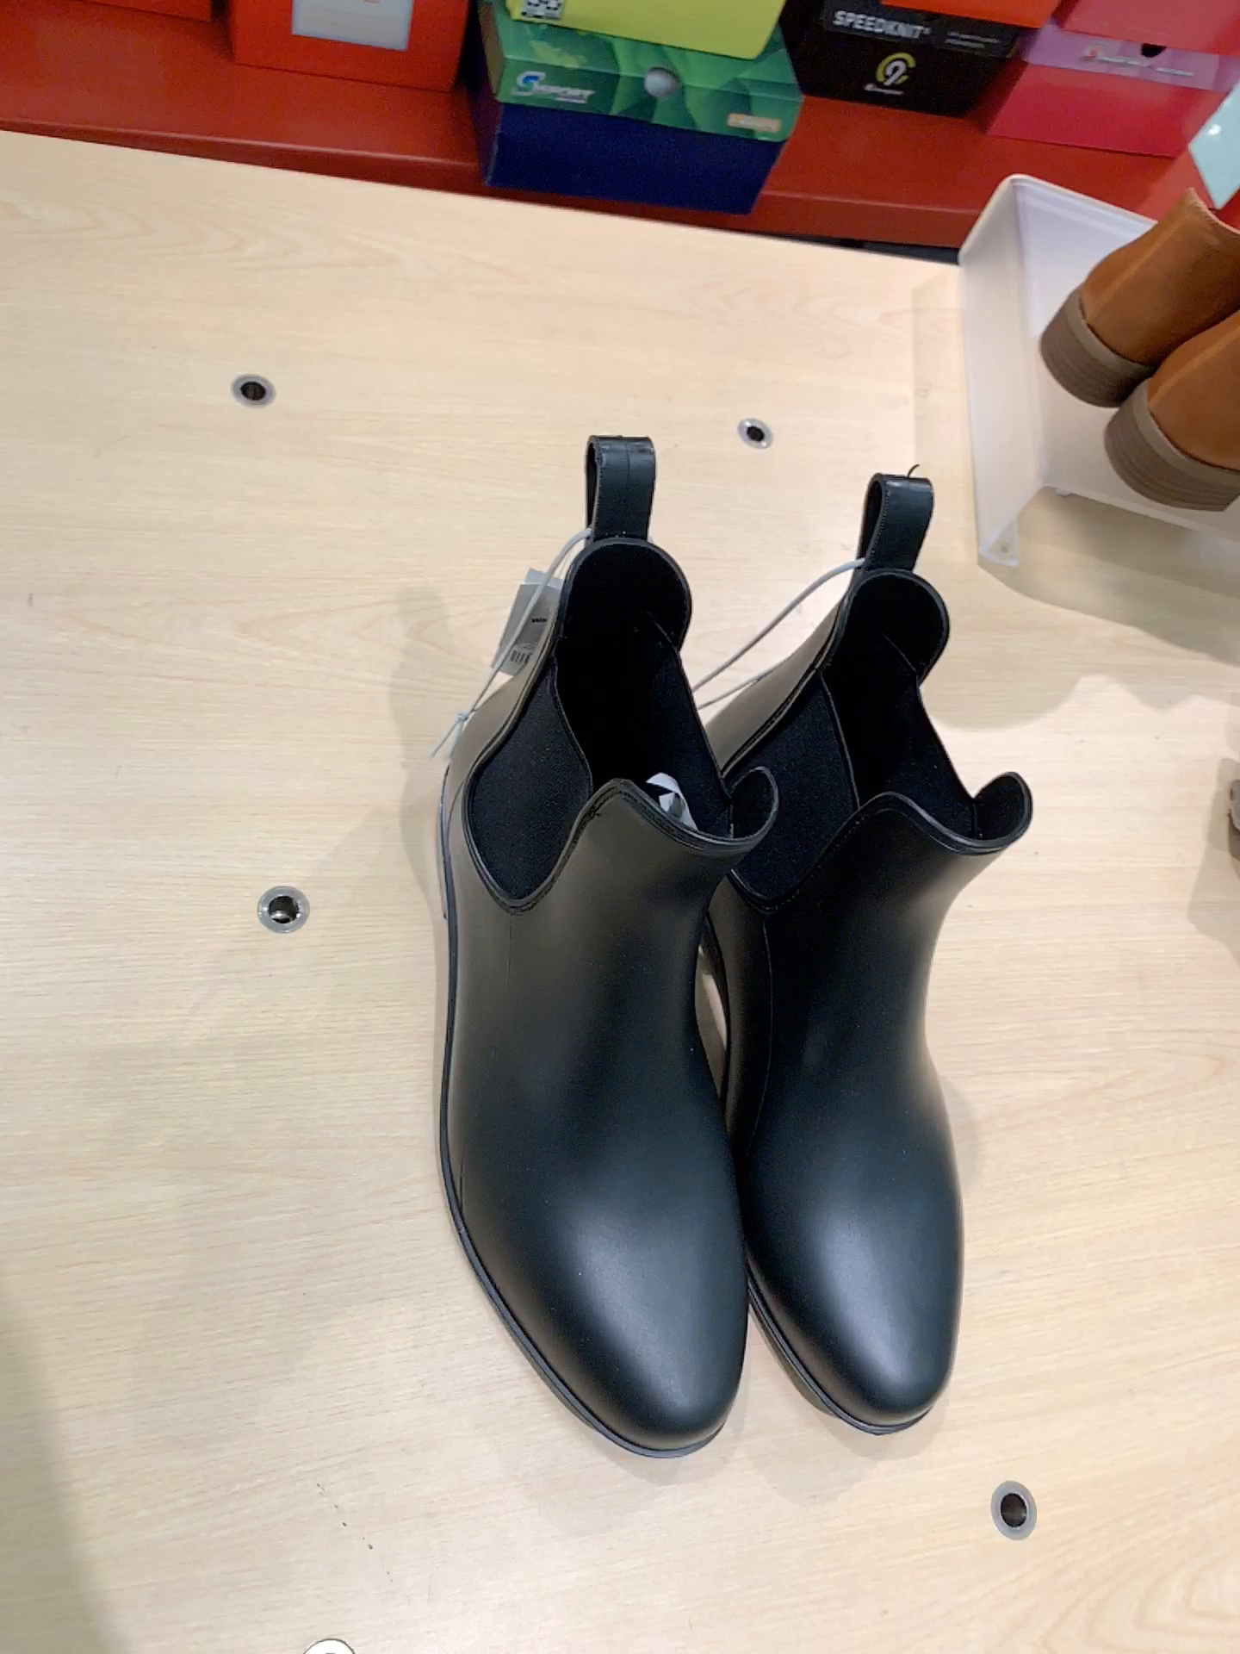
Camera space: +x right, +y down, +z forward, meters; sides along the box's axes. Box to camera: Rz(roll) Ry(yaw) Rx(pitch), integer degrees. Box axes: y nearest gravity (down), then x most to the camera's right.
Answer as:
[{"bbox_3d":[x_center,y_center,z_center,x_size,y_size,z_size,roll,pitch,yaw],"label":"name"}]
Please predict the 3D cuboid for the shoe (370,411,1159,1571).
[{"bbox_3d":[0.010,0.051,0.408,0.113,0.202,0.286,-6,68,-20],"label":"shoe"}]

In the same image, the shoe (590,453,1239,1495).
[{"bbox_3d":[0.094,0.053,0.437,0.100,0.199,0.286,-6,68,-20],"label":"shoe"}]
